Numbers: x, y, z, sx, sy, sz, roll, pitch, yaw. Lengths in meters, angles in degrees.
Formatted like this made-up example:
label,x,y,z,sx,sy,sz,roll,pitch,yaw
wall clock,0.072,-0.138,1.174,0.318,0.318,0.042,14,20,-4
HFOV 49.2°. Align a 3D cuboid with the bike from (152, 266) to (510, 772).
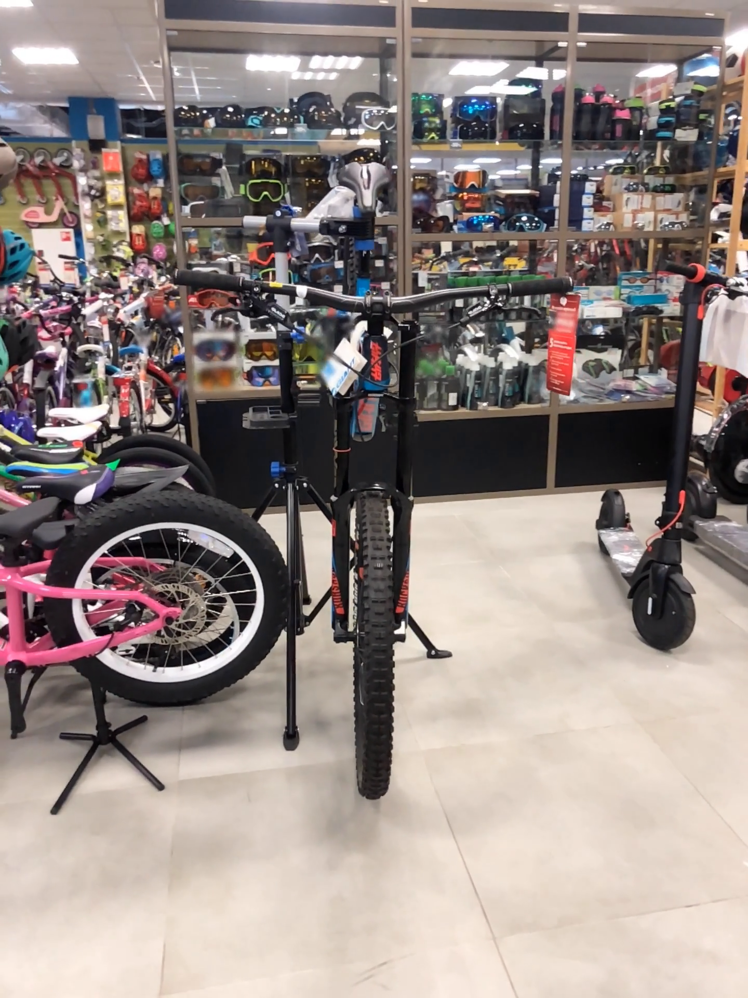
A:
label,x,y,z,sx,sy,sz,roll,pitch,yaw
bike,-0.077,-0.121,2.093,0.659,0.181,1.532,0,43,-2
